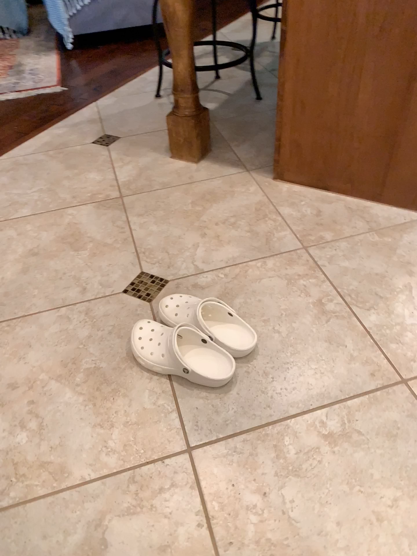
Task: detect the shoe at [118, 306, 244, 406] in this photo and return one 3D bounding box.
[{"bbox_3d":[-0.062,0.172,0.981,0.261,0.073,0.119,20,48,24],"label":"shoe"}]

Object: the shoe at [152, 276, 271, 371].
[{"bbox_3d":[0.007,0.105,1.061,0.261,0.073,0.130,23,50,26],"label":"shoe"}]
